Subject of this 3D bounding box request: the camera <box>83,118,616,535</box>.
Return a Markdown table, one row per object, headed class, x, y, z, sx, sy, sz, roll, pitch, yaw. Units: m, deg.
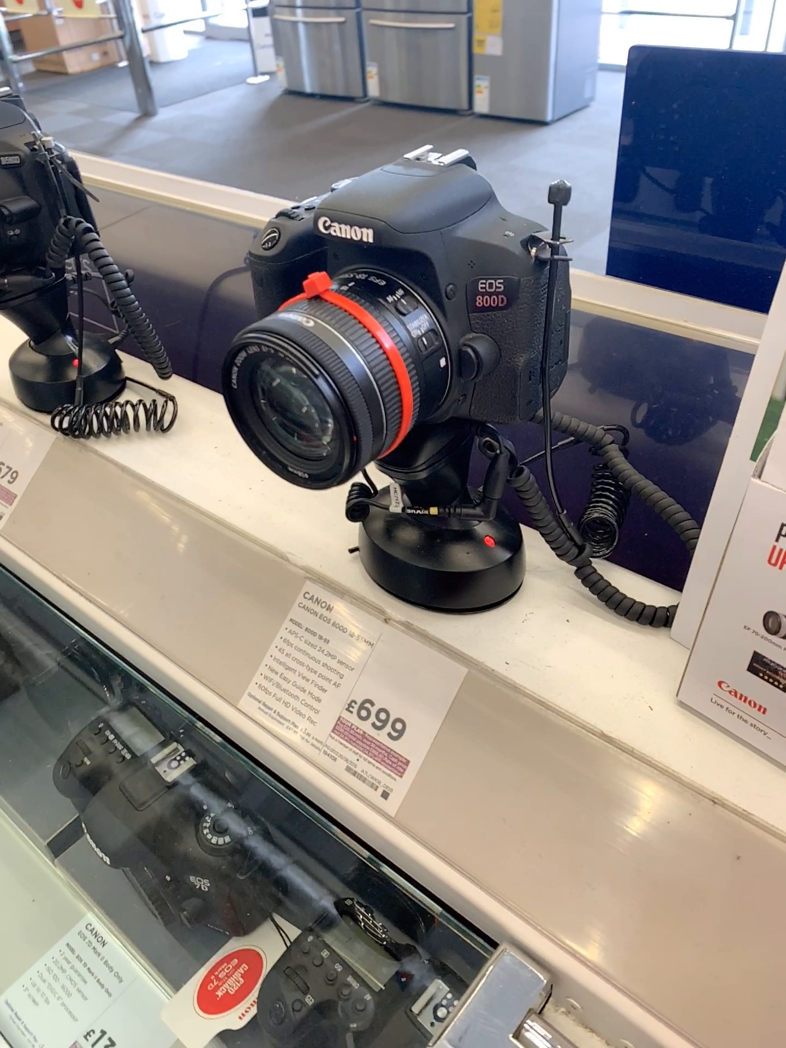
| class | x | y | z | sx | sy | sz | roll | pitch | yaw |
| --- | --- | --- | --- | --- | --- | --- | --- | --- | --- |
| camera | -0.009 | -0.092 | 0.323 | 0.140 | 0.089 | 0.141 | 20 | 45 | 28 |
